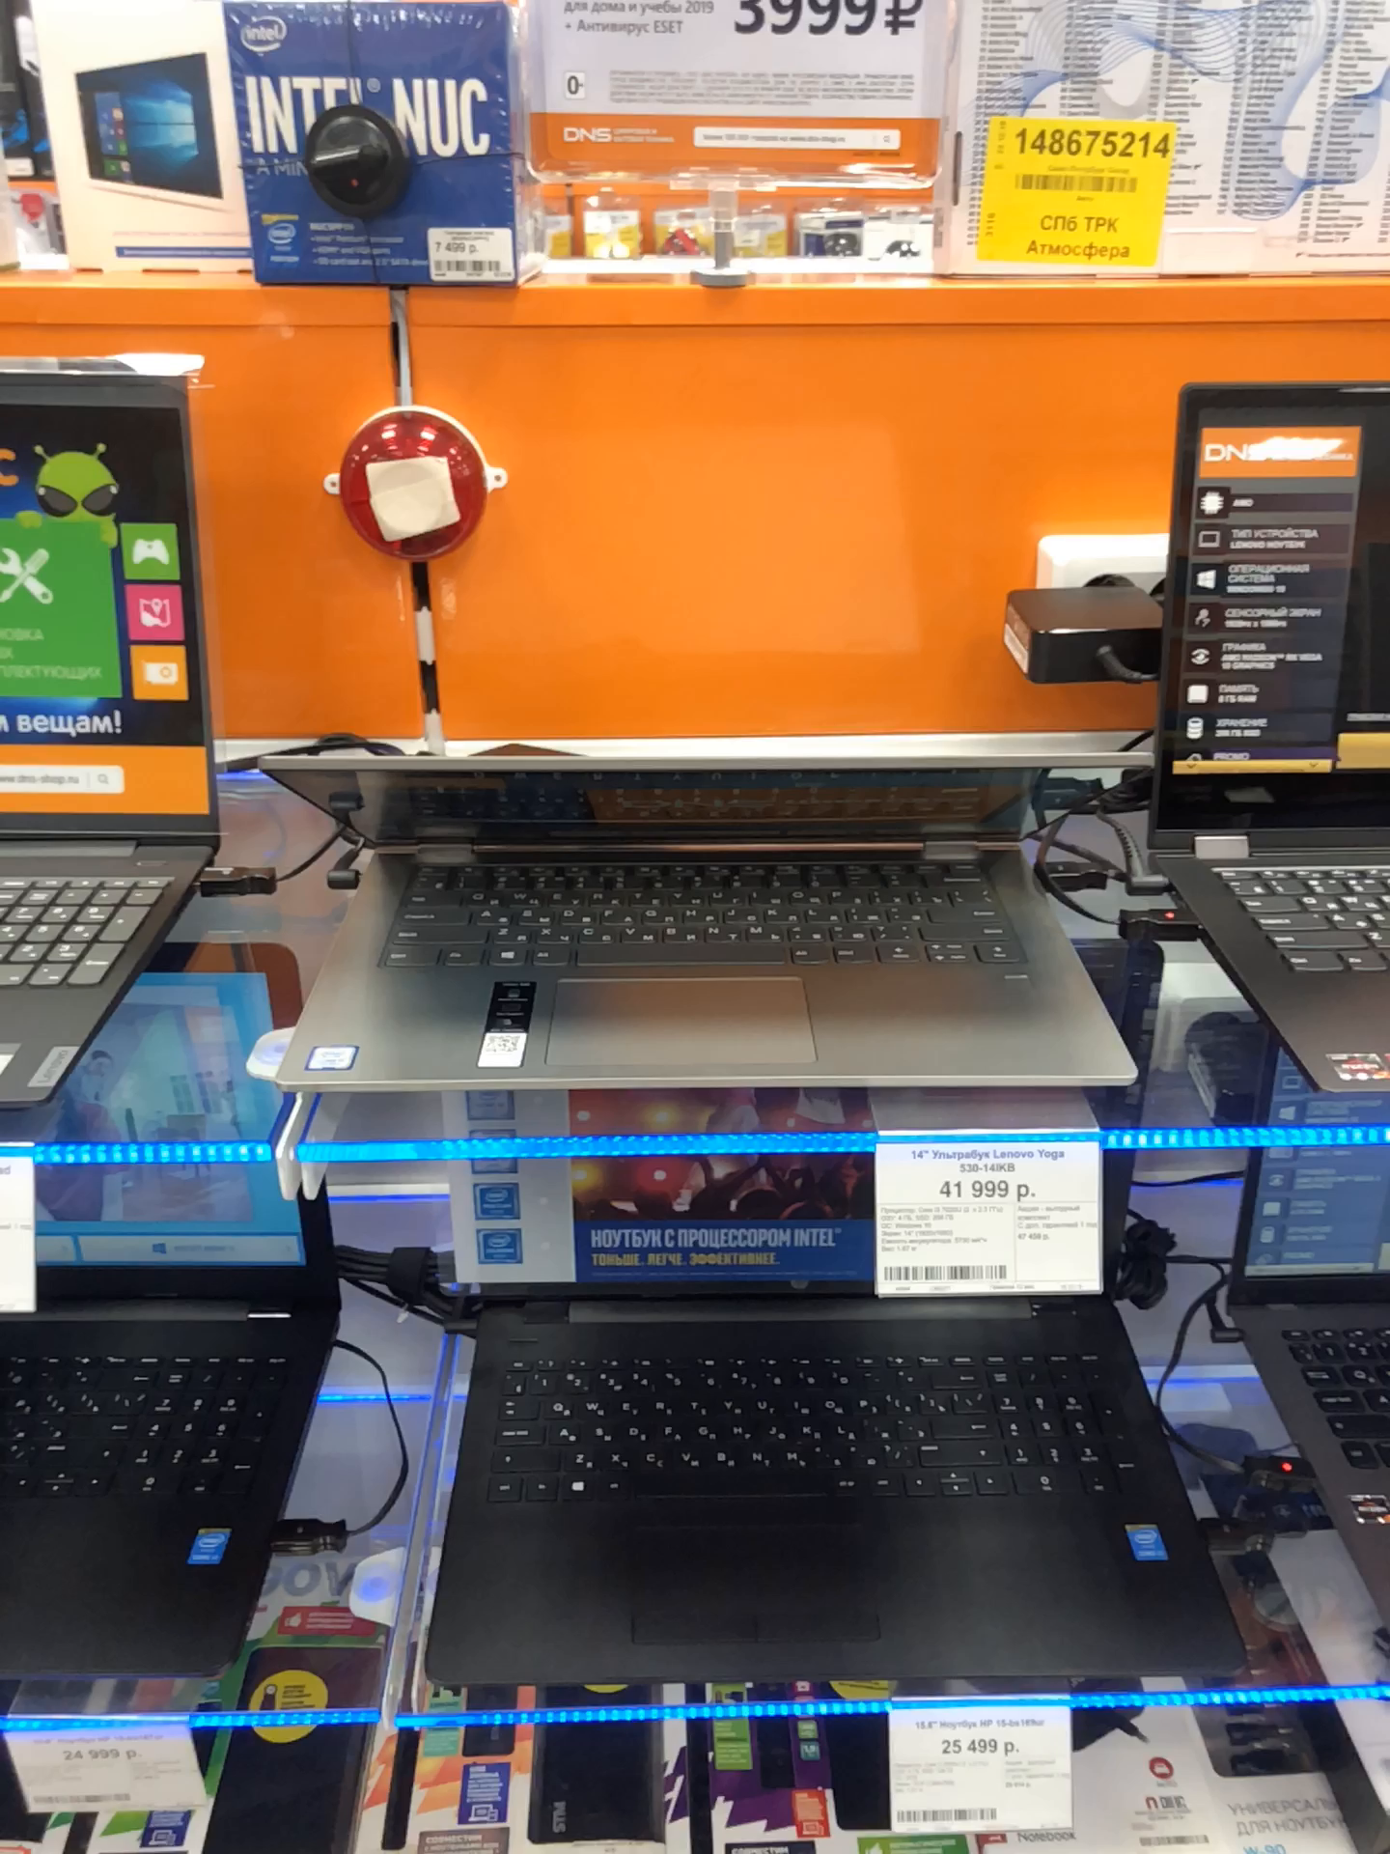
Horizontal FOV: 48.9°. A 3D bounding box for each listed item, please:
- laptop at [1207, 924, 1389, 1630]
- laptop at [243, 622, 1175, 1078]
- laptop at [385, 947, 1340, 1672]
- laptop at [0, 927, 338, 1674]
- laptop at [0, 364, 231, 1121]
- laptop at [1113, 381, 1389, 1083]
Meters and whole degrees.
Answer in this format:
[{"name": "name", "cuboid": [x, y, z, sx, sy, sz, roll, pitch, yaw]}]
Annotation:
[{"name": "laptop", "cuboid": [0.479, 0.158, 0.743, 0.329, 0.228, 0.236, -1, 27, -2]}, {"name": "laptop", "cuboid": [0.003, -0.042, 0.632, 0.313, 0.110, 0.211, 0, 27, -1]}, {"name": "laptop", "cuboid": [0.058, 0.170, 0.744, 0.361, 0.223, 0.261, 0, 26, -1]}, {"name": "laptop", "cuboid": [-0.381, 0.164, 0.733, 0.332, 0.222, 0.245, 1, 29, -1]}, {"name": "laptop", "cuboid": [-0.401, -0.094, 0.609, 0.329, 0.219, 0.277, -1, 26, -3]}, {"name": "laptop", "cuboid": [0.391, -0.093, 0.624, 0.327, 0.210, 0.248, -1, 27, -3]}]
